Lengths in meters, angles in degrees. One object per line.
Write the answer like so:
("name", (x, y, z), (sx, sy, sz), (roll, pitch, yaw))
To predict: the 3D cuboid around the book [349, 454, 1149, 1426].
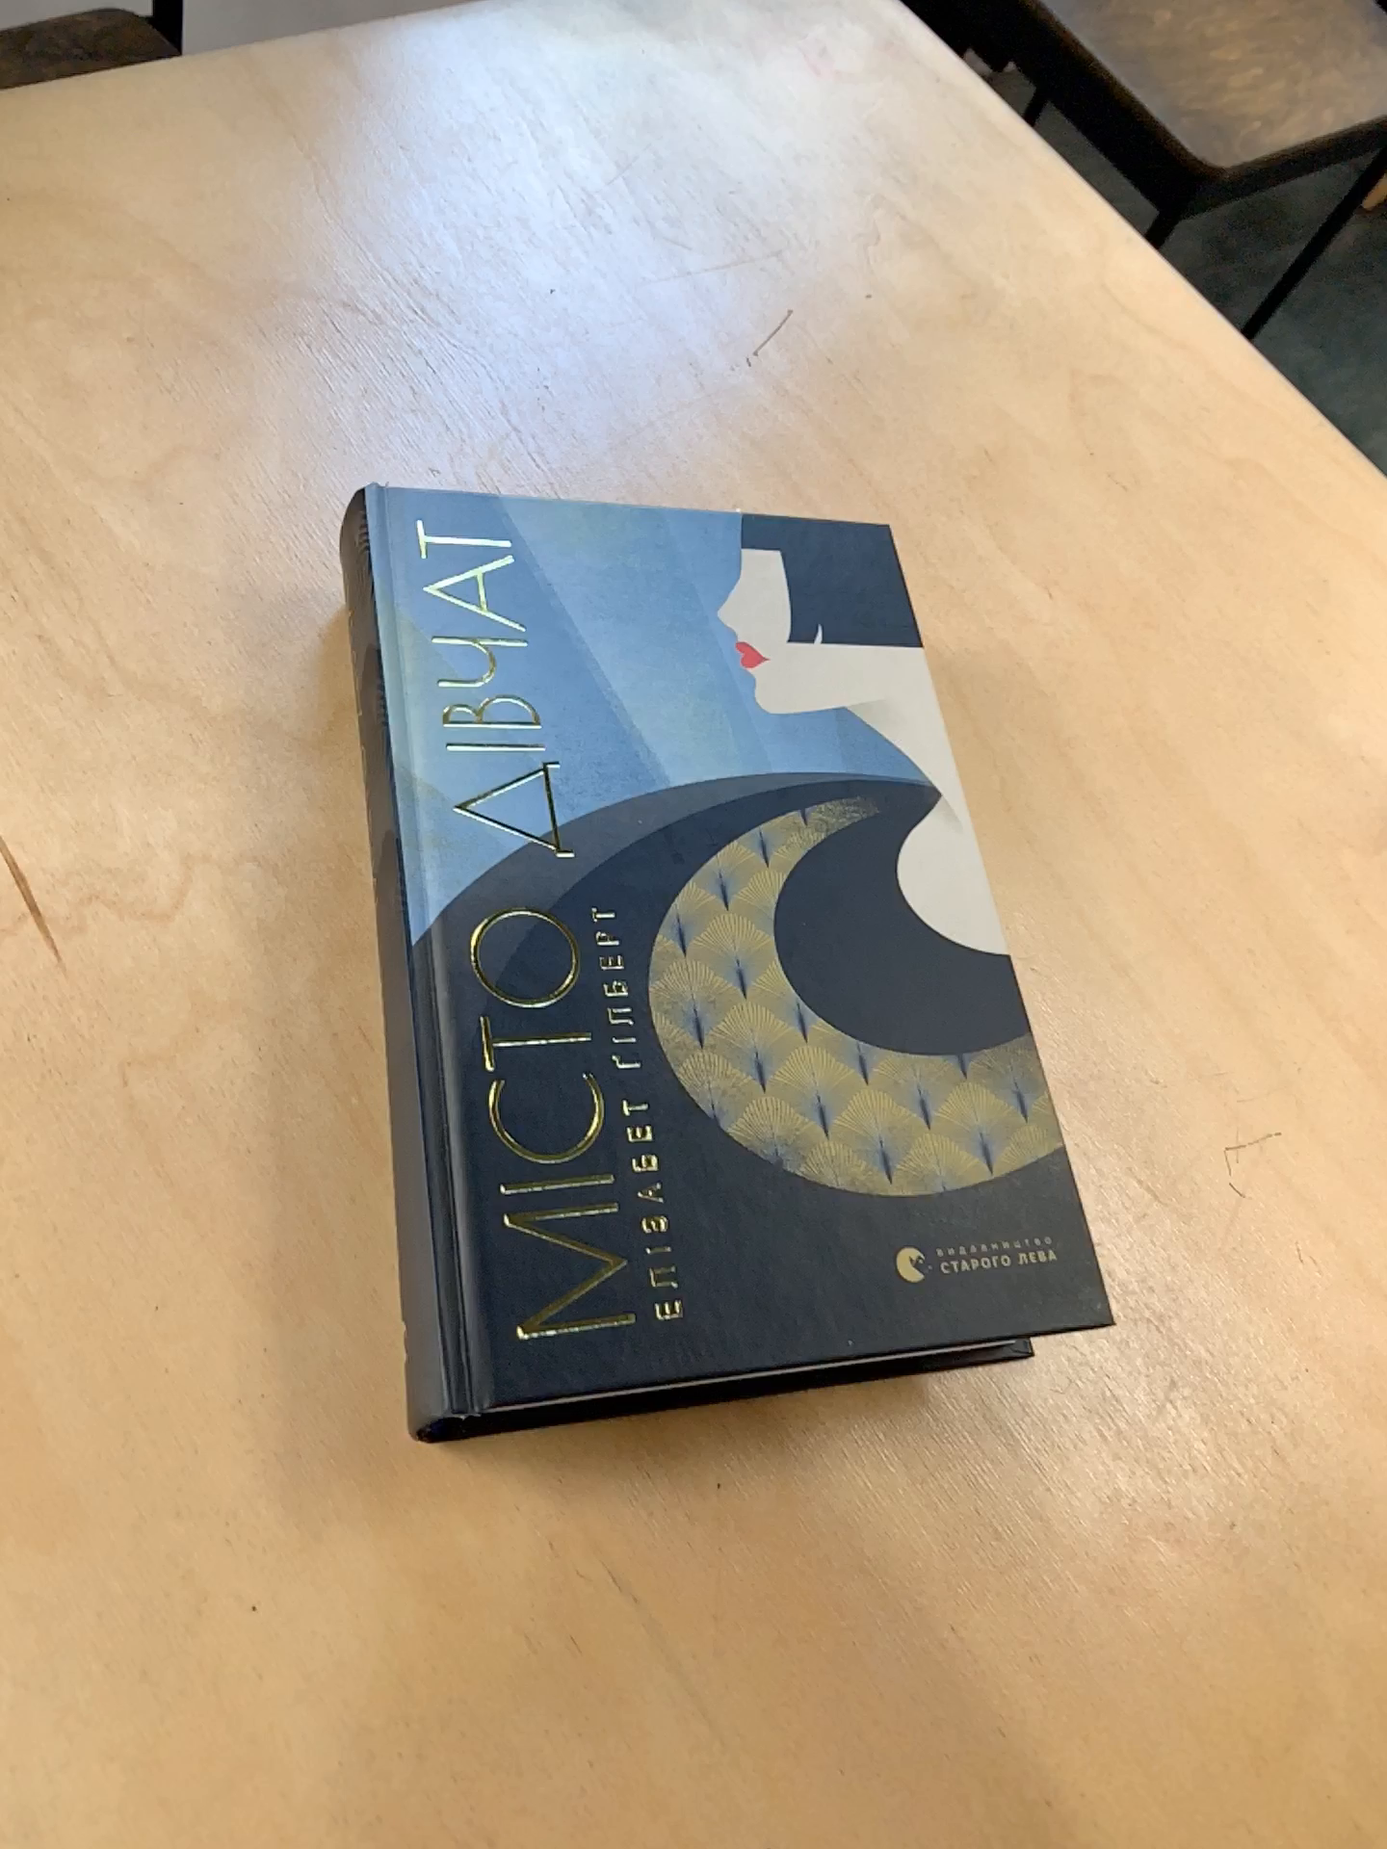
("book", (0.002, -0.006, 0.311), (0.134, 0.043, 0.197), (-2, 66, -18))
